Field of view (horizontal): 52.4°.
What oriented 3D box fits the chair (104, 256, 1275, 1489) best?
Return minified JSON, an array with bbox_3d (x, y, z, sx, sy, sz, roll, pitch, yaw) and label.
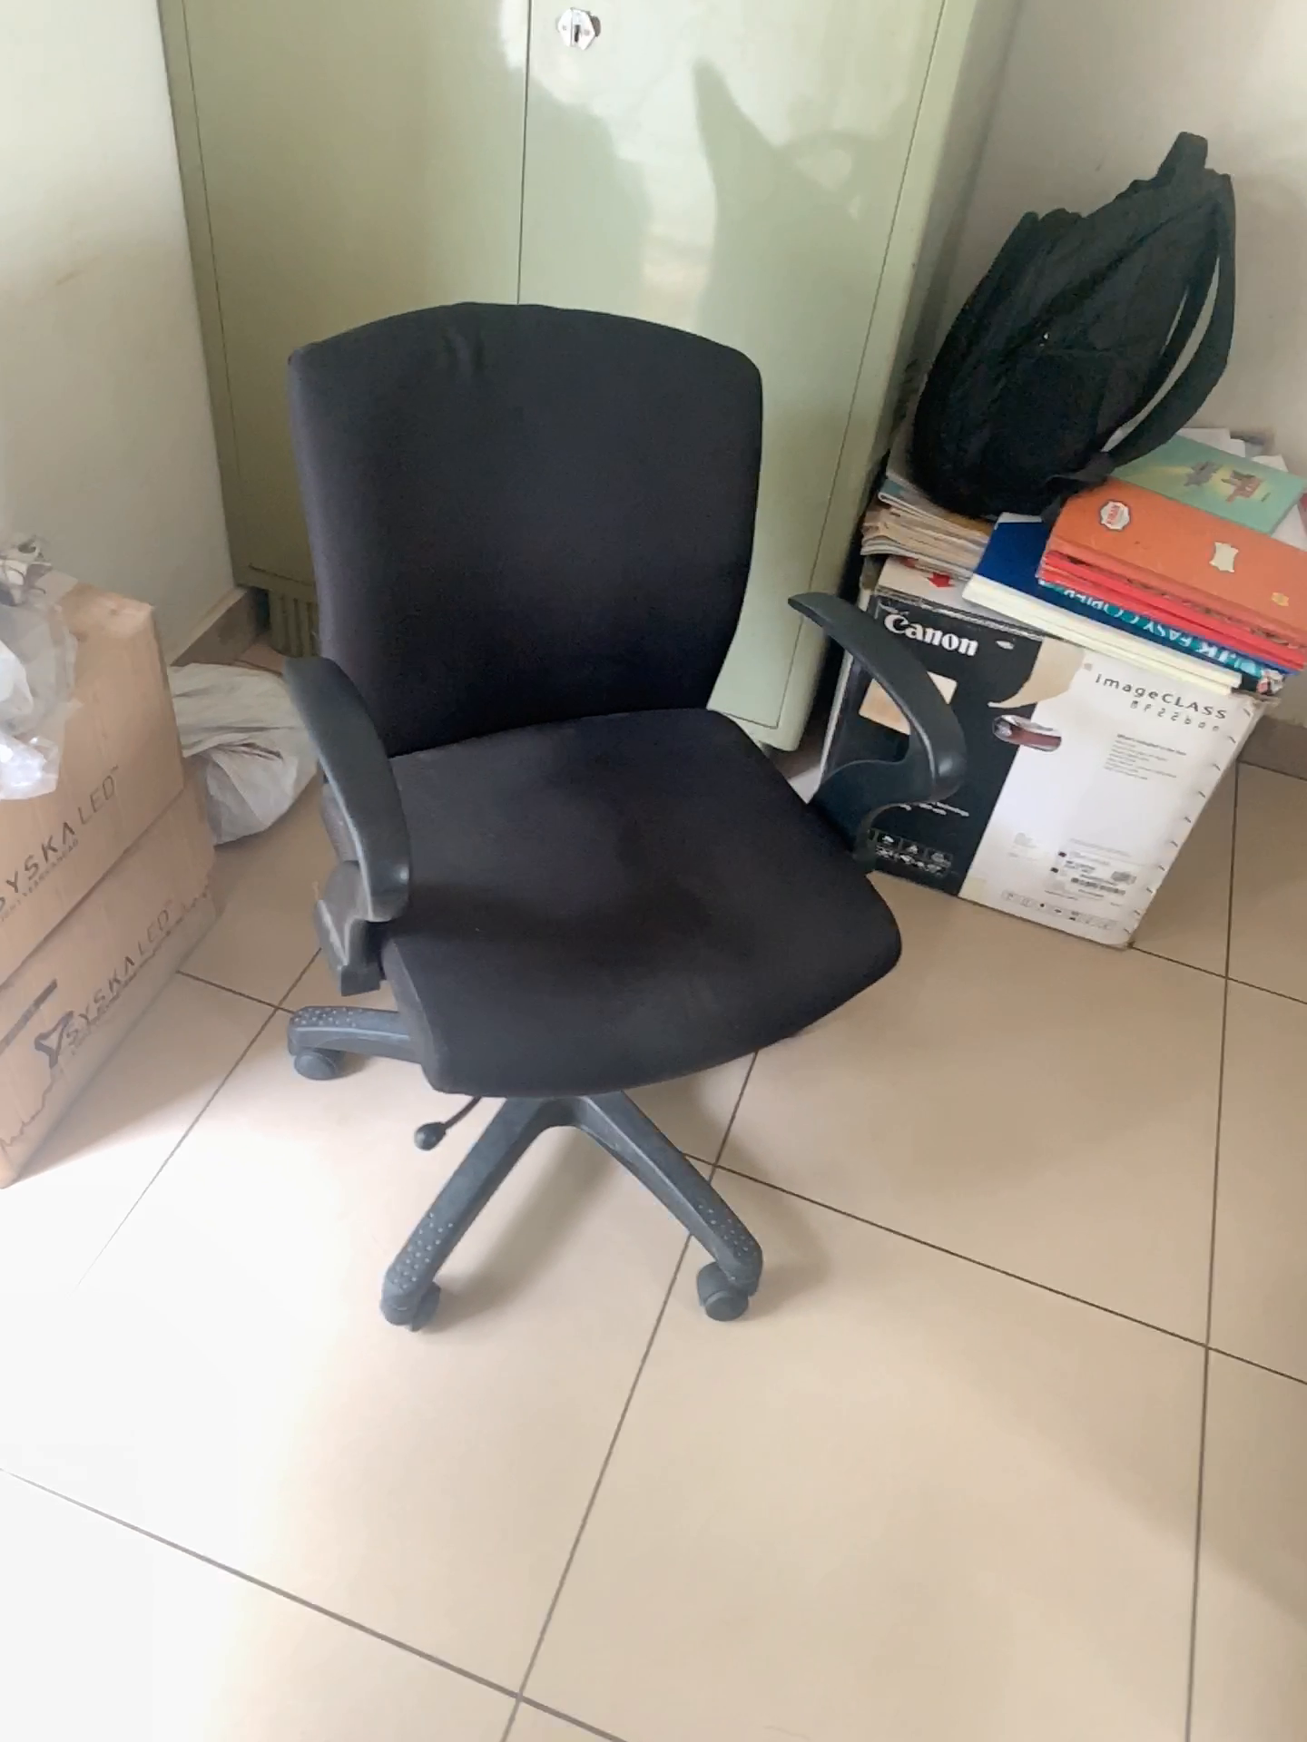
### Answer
[{"bbox_3d":[-0.057,-0.004,1.389,0.701,0.927,0.702,-15,50,-22],"label":"chair"}]
